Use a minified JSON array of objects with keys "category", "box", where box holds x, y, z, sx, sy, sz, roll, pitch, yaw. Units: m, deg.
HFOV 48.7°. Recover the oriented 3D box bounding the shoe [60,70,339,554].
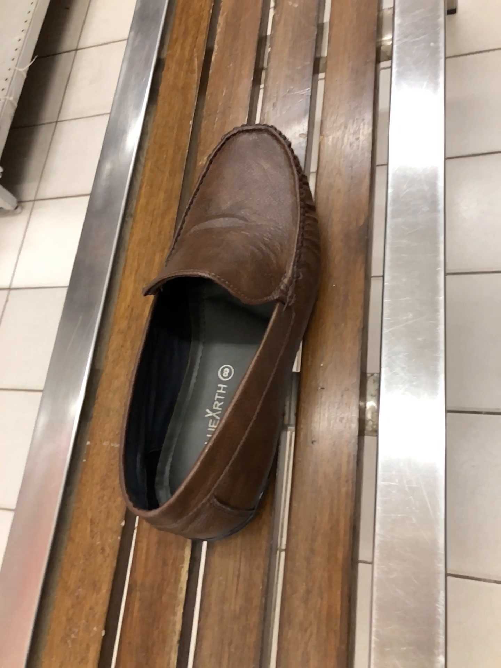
[{"category":"shoe","box":[-0.017,-0.018,0.354,0.090,0.090,0.280,4,72,23]}]
